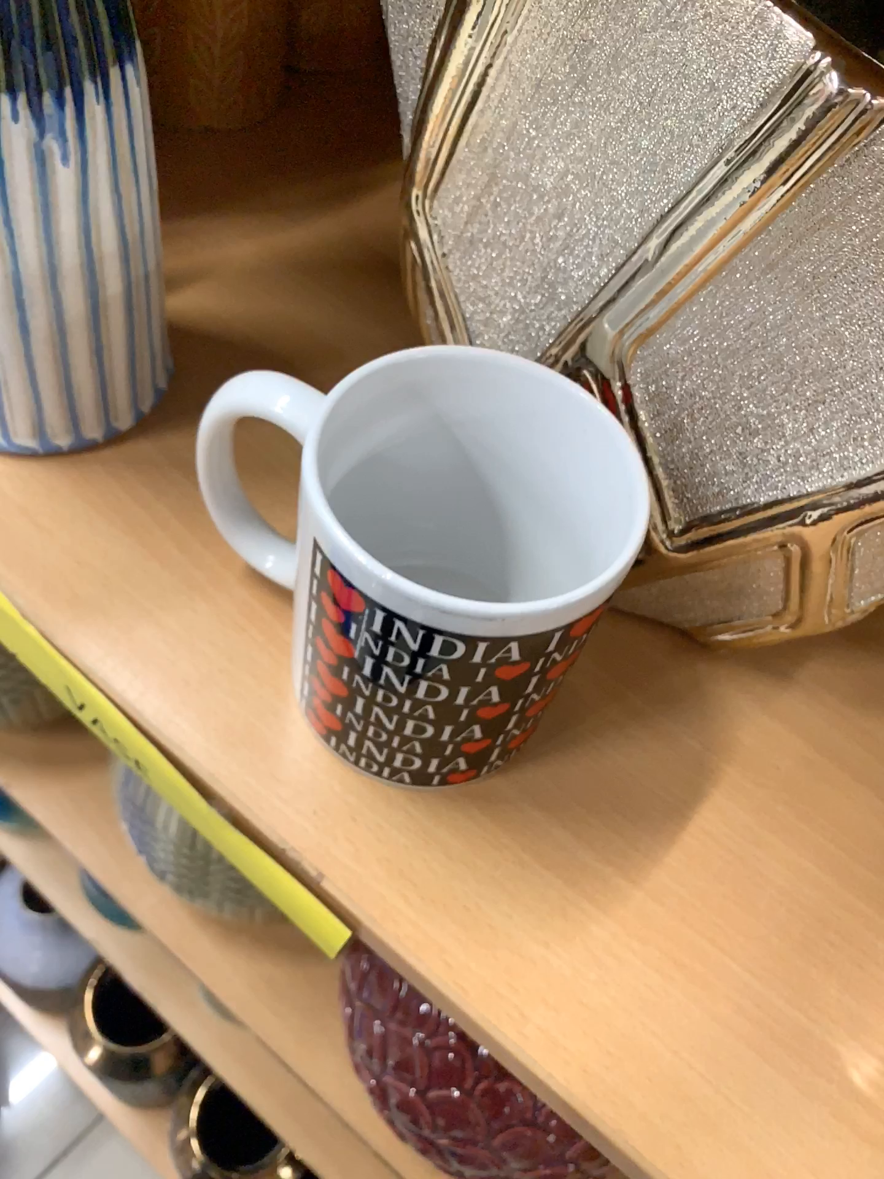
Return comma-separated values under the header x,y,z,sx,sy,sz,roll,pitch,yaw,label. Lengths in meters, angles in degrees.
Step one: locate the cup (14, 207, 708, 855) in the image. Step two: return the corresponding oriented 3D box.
x,y,z,sx,sy,sz,roll,pitch,yaw,label
-0.019,-0.015,0.244,0.130,0.090,0.090,26,53,7,cup
